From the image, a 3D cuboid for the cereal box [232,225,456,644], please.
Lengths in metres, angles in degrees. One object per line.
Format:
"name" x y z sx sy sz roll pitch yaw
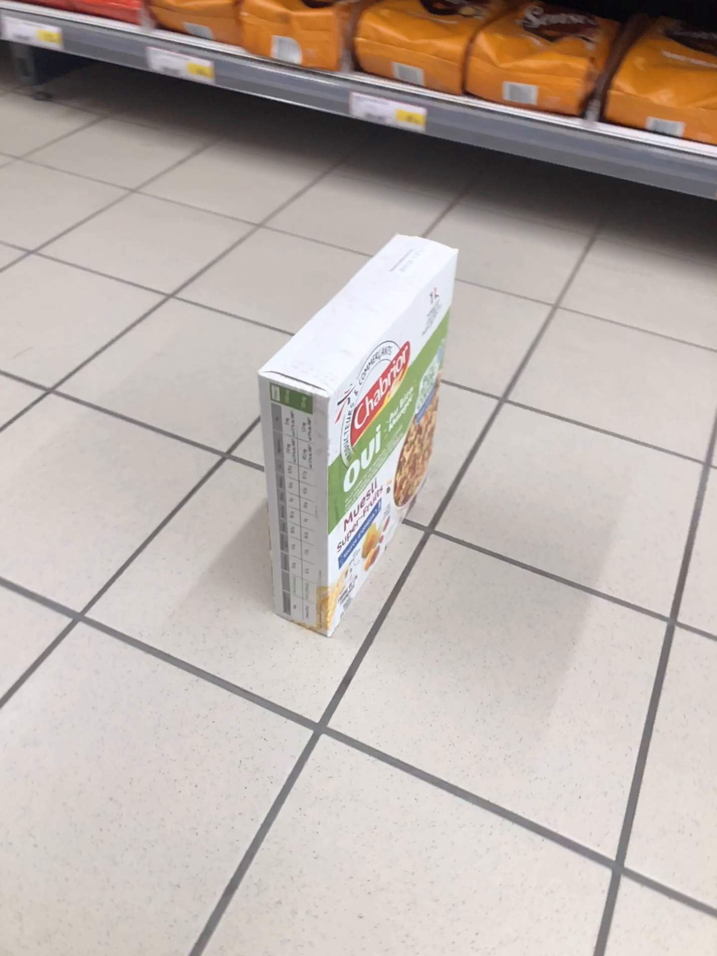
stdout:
"cereal box" -0.006 -0.030 0.569 0.060 0.229 0.191 20 46 17
